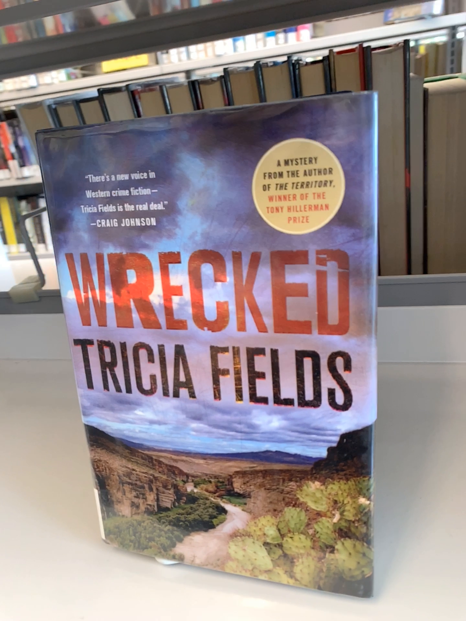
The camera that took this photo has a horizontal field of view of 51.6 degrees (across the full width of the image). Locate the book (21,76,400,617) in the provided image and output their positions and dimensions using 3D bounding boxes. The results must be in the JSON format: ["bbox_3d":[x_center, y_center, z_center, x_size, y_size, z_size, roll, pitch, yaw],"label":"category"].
[{"bbox_3d":[-0.004,0.023,0.220,0.150,0.213,0.034,1,16,20],"label":"book"}]
